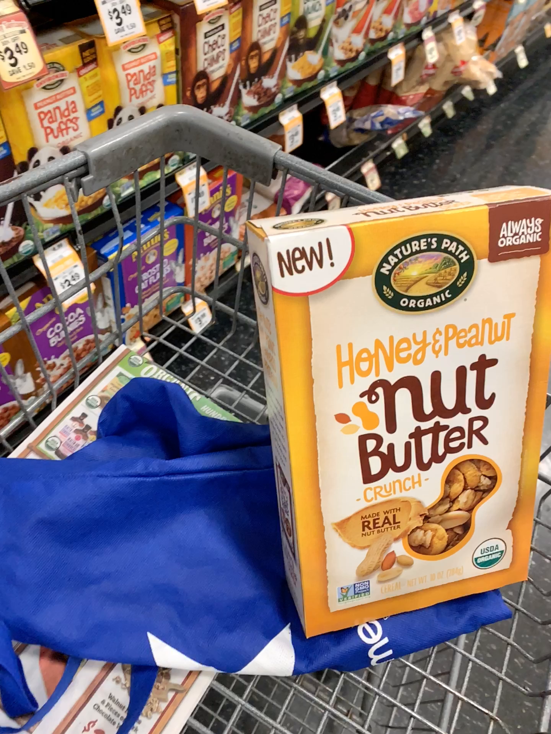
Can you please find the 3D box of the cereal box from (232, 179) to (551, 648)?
[{"bbox_3d":[0.073,0.031,0.318,0.160,0.239,0.050,-10,24,-10],"label":"cereal box"}]
